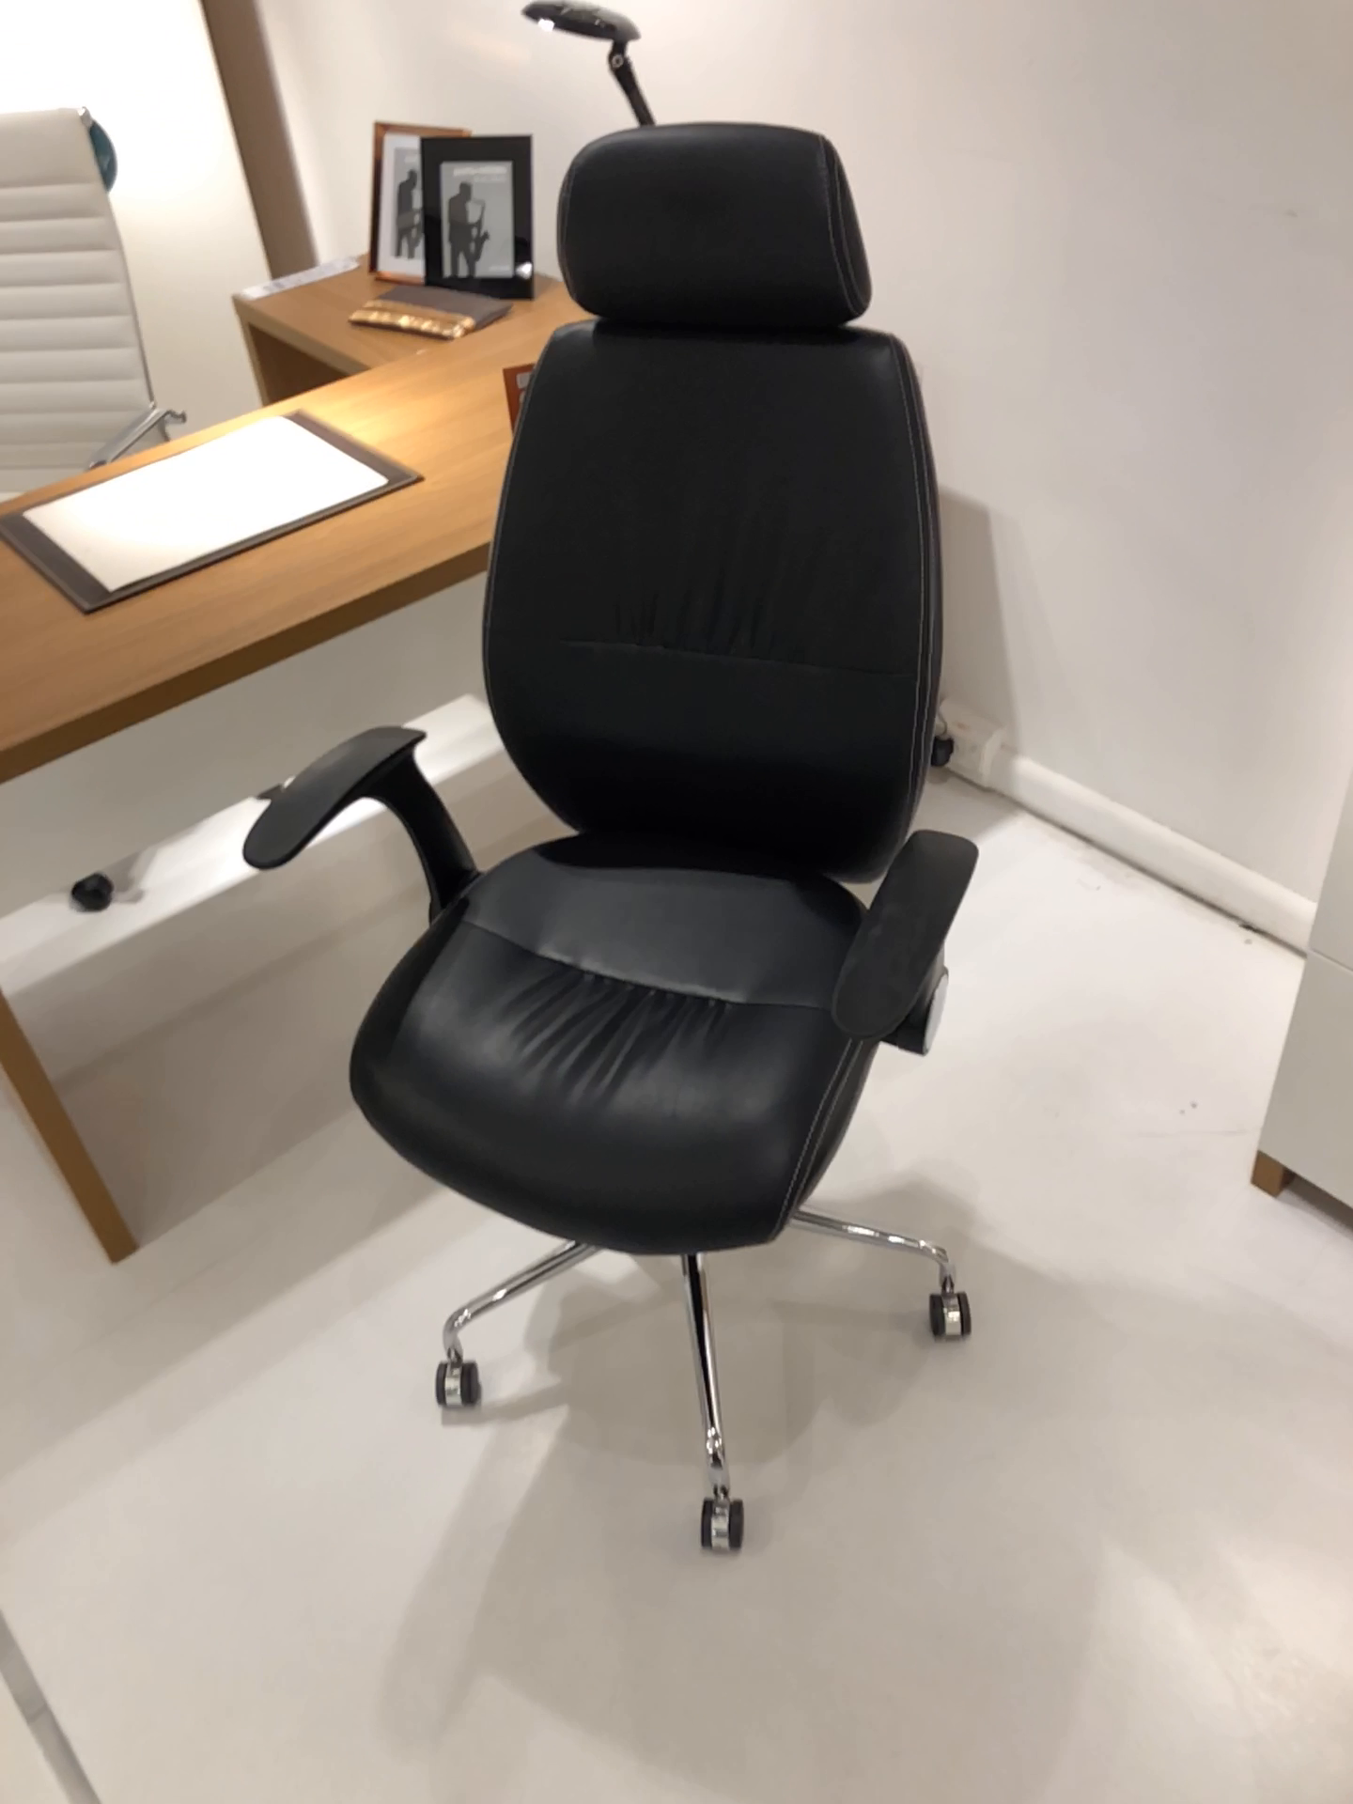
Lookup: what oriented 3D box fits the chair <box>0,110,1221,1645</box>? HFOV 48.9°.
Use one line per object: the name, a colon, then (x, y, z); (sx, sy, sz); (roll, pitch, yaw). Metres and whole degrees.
chair: (0.036, 0.014, 1.527); (0.691, 1.300, 0.714); (14, 45, 21)
